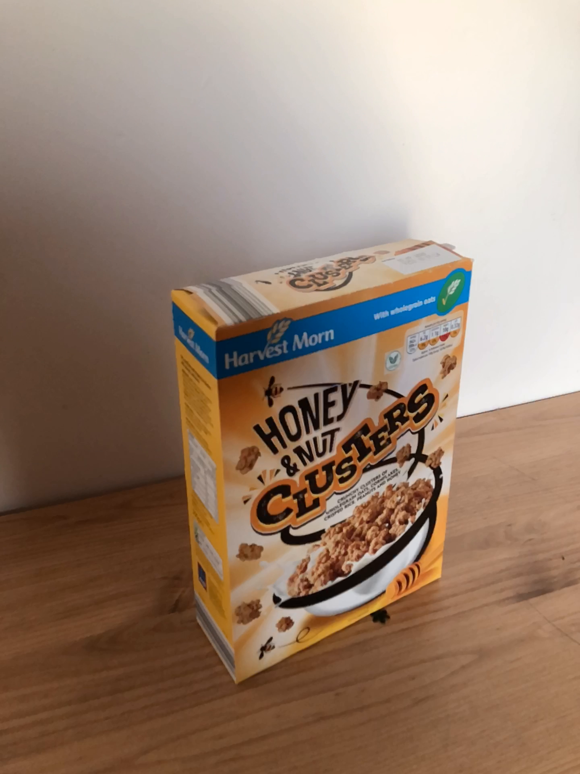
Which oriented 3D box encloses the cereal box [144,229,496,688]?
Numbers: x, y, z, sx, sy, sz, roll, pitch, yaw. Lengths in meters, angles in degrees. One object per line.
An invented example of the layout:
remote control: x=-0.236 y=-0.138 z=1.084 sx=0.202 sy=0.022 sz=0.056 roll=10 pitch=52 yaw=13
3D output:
cereal box: x=0.023 y=0.043 z=0.414 sx=0.190 sy=0.248 sz=0.070 roll=-17 pitch=33 yaw=-27
